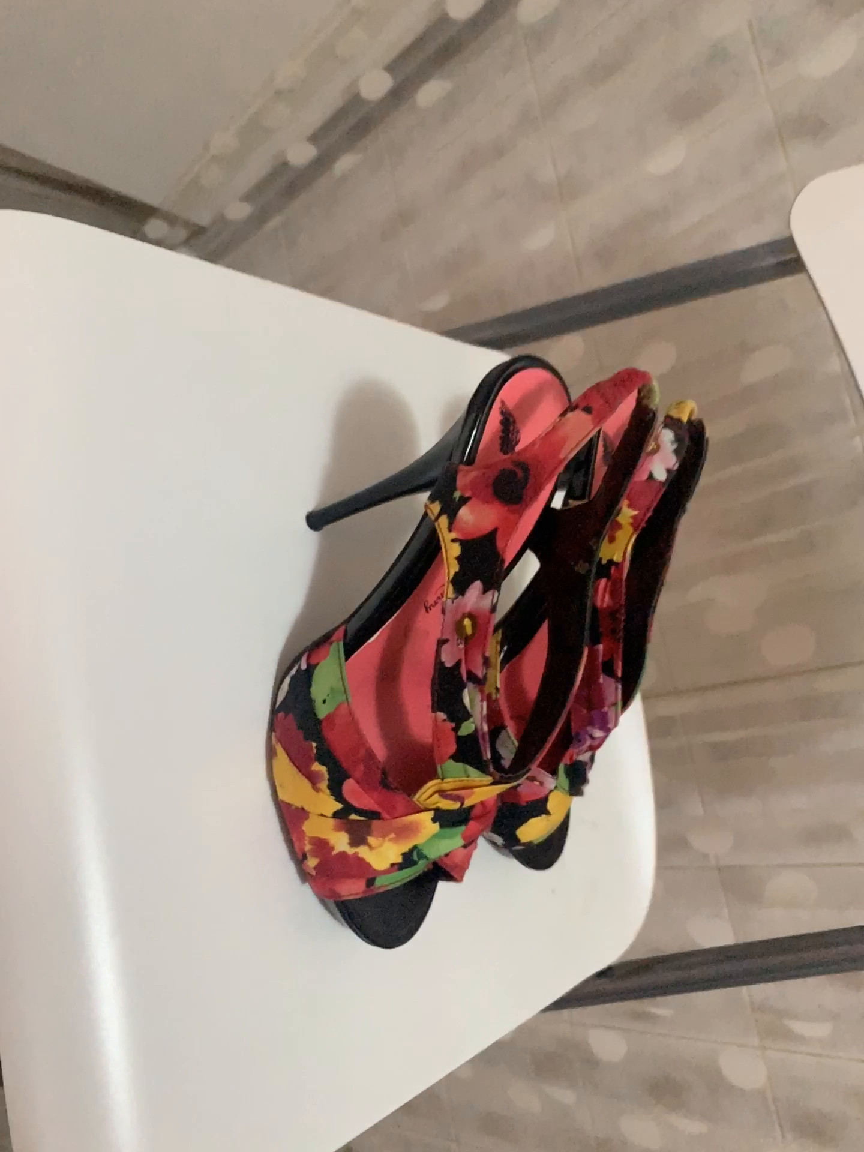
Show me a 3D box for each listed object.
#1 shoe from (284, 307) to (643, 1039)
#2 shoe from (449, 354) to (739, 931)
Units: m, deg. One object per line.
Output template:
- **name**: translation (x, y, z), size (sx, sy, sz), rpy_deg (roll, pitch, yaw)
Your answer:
- **shoe**: translation (0.012, 0.027, 0.305), size (0.083, 0.073, 0.205), rpy_deg (5, 88, -45)
- **shoe**: translation (0.069, 0.021, 0.372), size (0.081, 0.085, 0.205), rpy_deg (-6, 96, -46)
